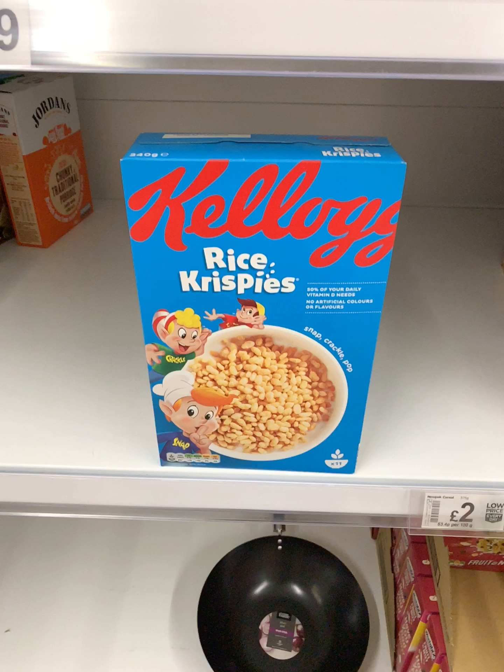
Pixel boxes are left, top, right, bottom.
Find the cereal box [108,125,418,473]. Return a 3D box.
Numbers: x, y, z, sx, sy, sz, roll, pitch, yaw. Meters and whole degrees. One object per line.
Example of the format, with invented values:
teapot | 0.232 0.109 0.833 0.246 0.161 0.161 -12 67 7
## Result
cereal box | 0.006 -0.015 0.448 0.200 0.297 0.071 2 34 2
